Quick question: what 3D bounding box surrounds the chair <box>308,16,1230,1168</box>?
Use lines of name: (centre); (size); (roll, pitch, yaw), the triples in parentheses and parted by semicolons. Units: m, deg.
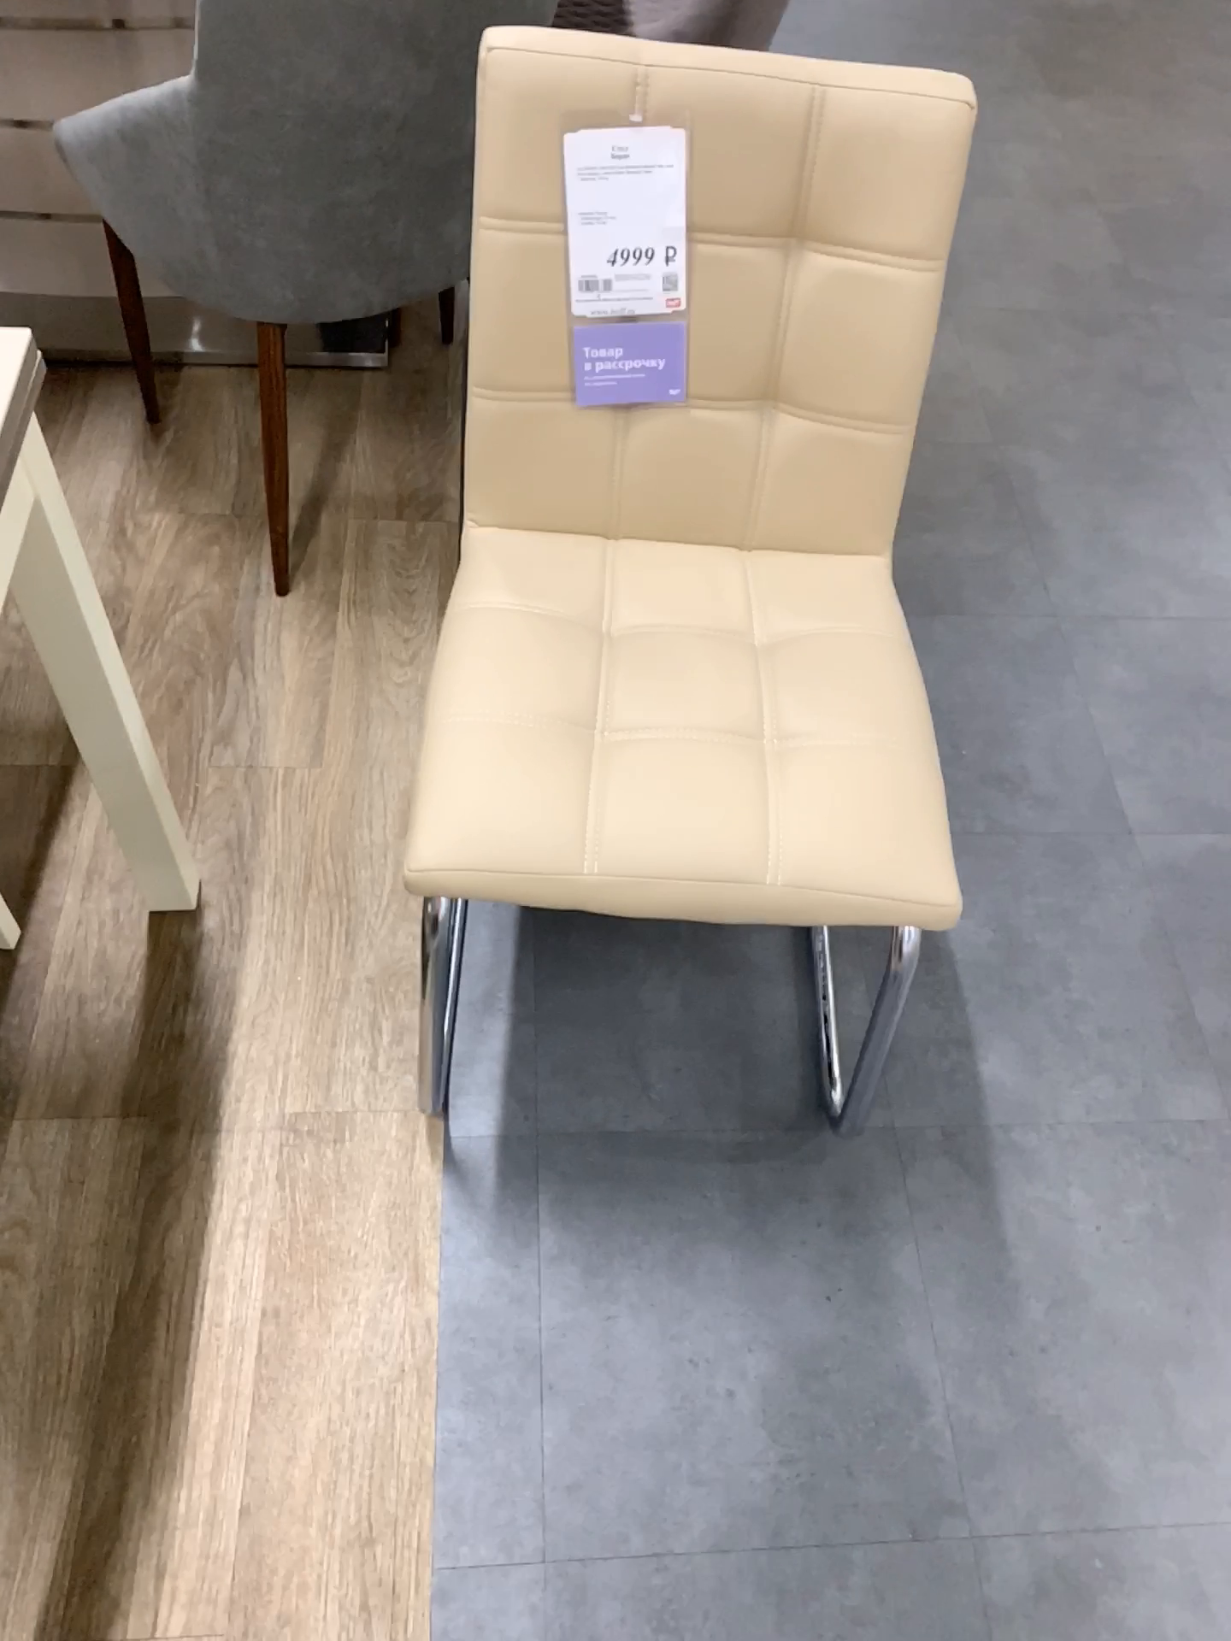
chair: (0.081, -0.150, 1.197); (0.530, 0.816, 0.653); (4, 54, -2)
